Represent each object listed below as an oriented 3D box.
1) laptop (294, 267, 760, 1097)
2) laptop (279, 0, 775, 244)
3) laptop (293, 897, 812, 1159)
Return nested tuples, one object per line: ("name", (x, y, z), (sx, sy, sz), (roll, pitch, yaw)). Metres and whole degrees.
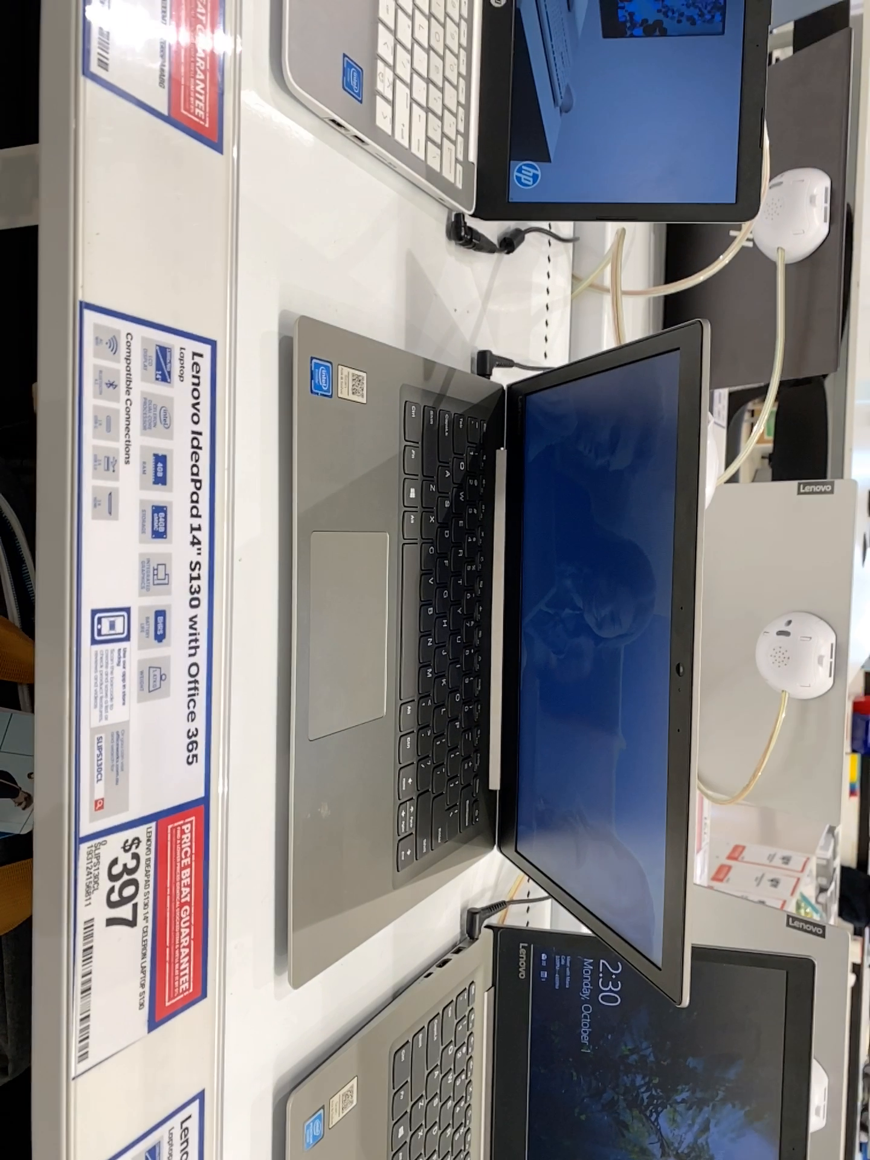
("laptop", (0.063, 0.037, 0.493), (0.231, 0.170, 0.329), (-6, 98, -61))
("laptop", (0.073, -0.385, 0.488), (0.286, 0.155, 0.304), (-3, 94, -59))
("laptop", (0.093, 0.424, 0.546), (0.311, 0.215, 0.329), (-3, 95, -62))
